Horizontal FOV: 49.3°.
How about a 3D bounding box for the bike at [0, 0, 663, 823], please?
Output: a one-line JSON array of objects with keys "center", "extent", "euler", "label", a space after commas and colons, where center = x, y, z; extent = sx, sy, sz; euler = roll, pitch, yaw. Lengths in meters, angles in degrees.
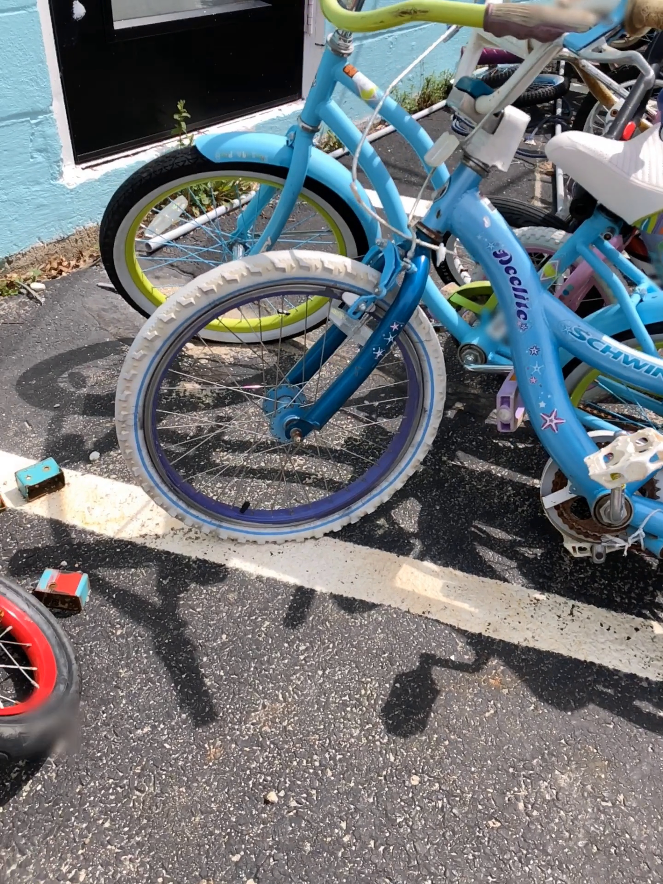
[{"center": [0.432, -0.183, 0.888], "extent": [1.265, 0.777, 0.559], "euler": [17, 41, 5], "label": "bike"}]
